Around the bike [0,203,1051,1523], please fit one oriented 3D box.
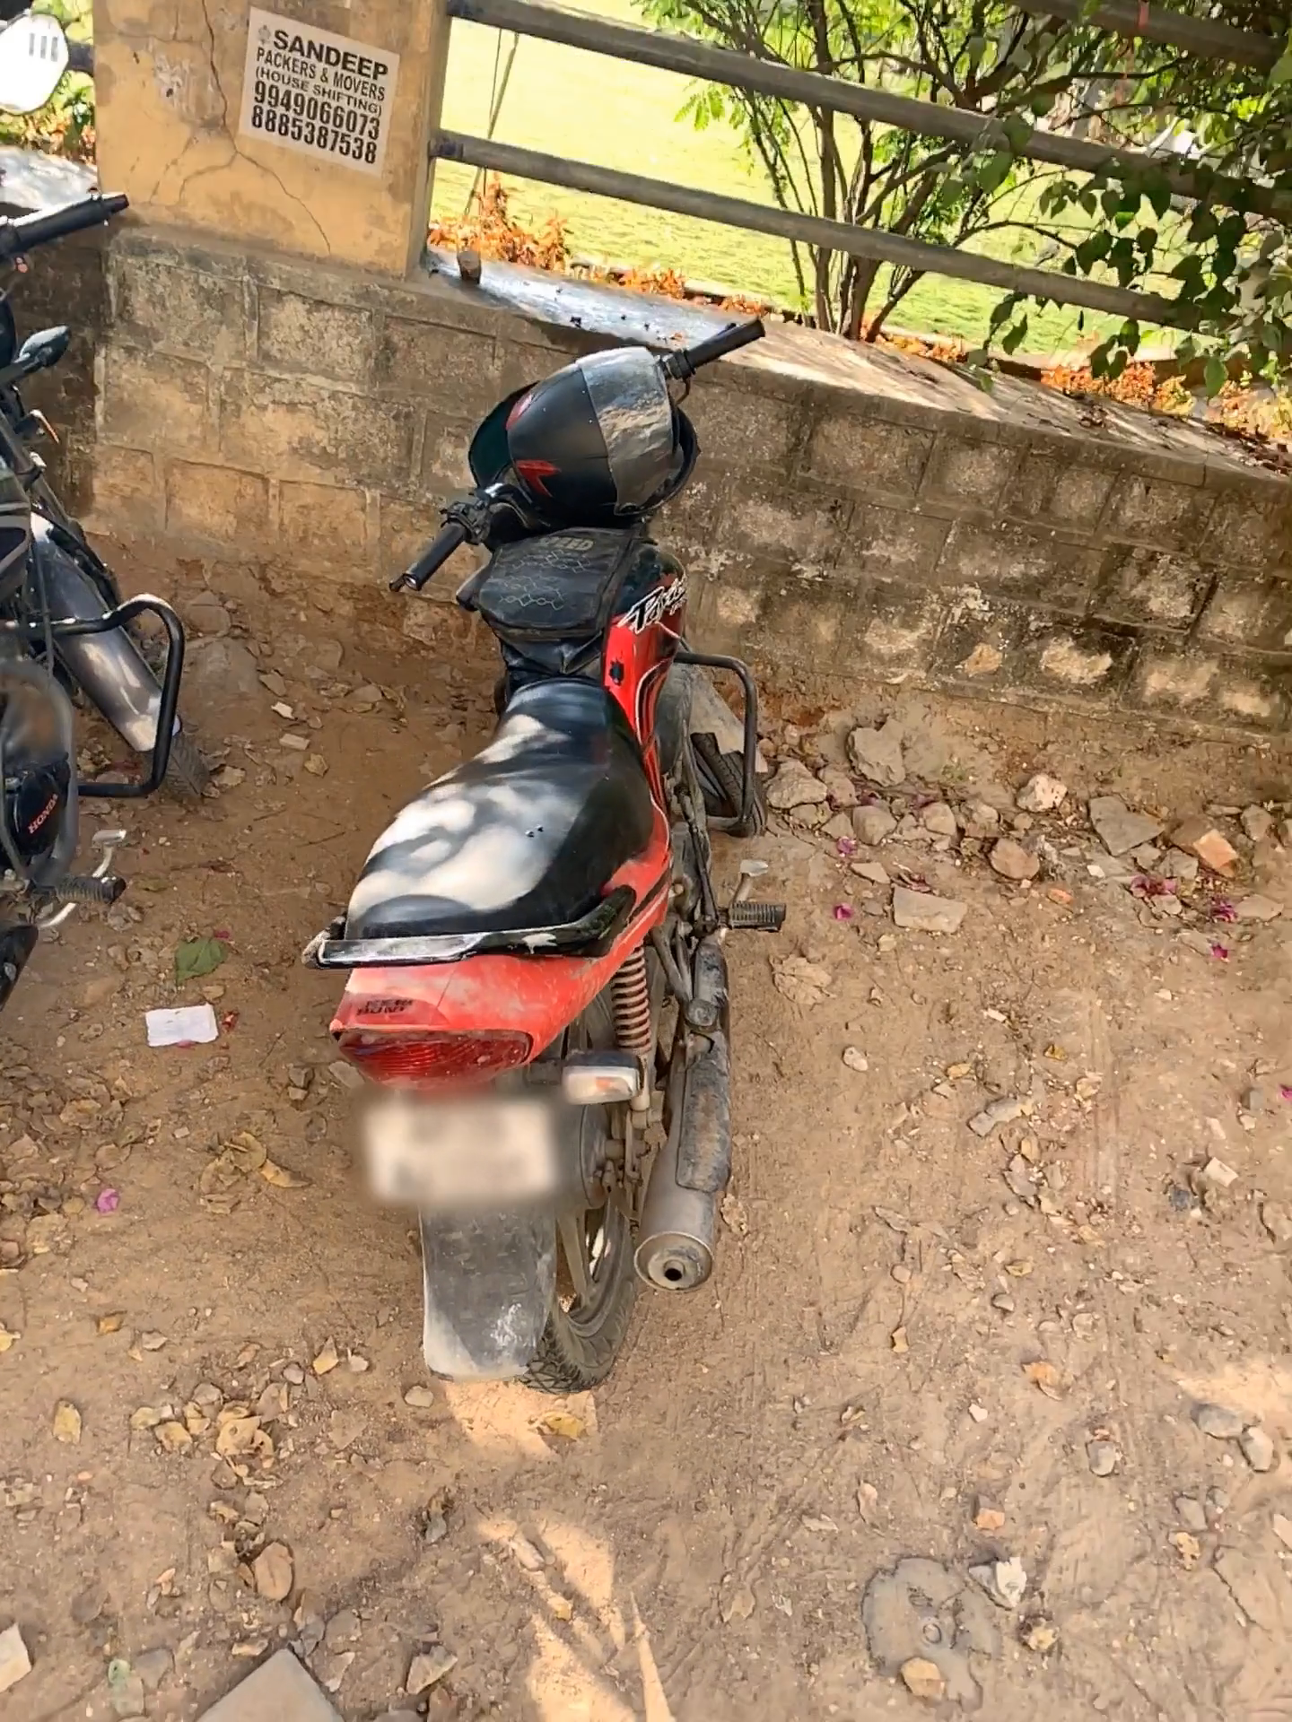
[{"bbox_3d":[-0.262,-0.145,2.043,1.063,1.245,1.604,12,33,-3],"label":"bike"}]
